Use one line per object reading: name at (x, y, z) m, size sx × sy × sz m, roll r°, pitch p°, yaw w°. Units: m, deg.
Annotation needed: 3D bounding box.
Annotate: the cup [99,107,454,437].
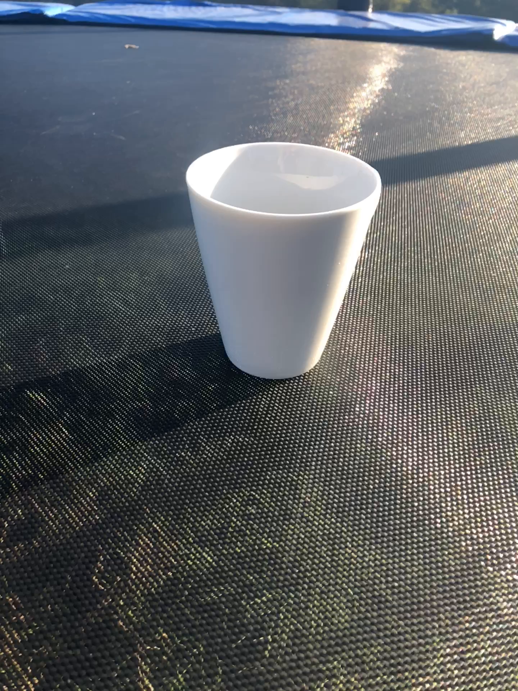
cup at (0.012, -0.047, 0.285) m, size 0.097 × 0.094 × 0.130 m, roll 30°, pitch 47°, yaw 33°
